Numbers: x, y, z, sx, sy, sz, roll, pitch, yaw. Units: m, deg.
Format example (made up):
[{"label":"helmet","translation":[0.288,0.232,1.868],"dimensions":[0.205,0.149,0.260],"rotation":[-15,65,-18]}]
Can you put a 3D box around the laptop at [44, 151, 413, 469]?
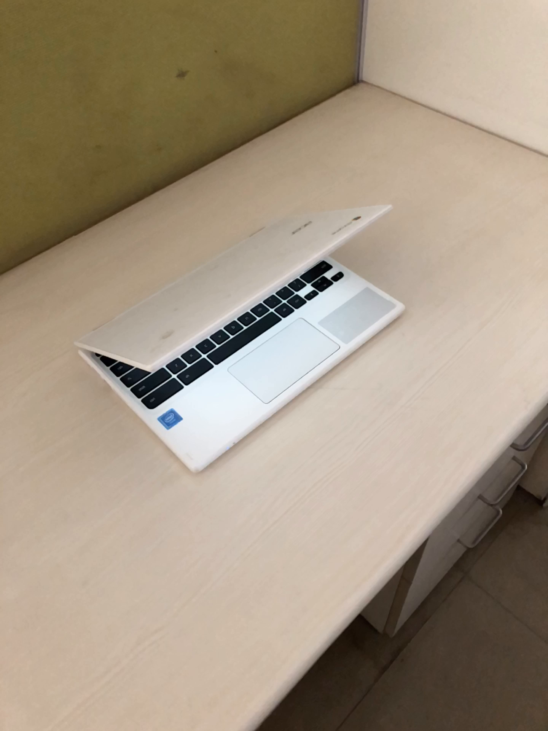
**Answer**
[{"label":"laptop","translation":[-0.036,-0.074,0.610],"dimensions":[0.291,0.105,0.196],"rotation":[-36,59,-26]}]
